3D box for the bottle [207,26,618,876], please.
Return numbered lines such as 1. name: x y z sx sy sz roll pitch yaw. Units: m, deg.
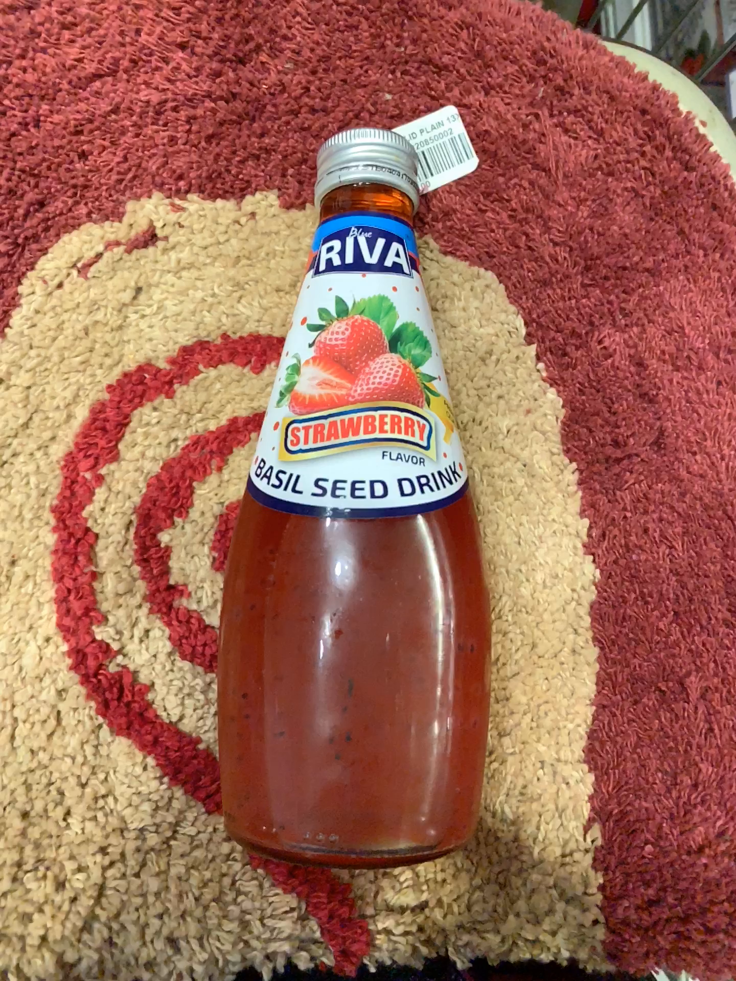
1. bottle: 0.009 -0.009 0.169 0.070 0.050 0.160 3 79 -5
